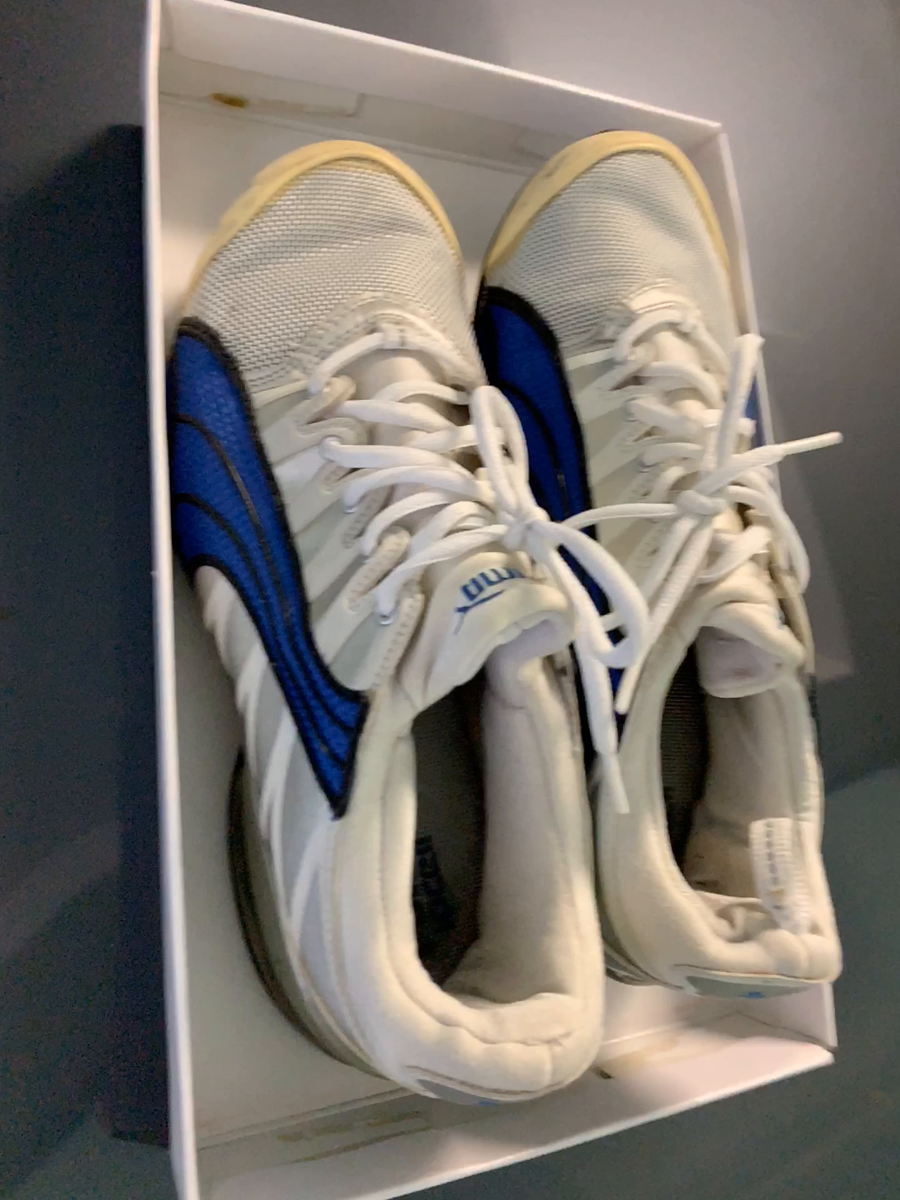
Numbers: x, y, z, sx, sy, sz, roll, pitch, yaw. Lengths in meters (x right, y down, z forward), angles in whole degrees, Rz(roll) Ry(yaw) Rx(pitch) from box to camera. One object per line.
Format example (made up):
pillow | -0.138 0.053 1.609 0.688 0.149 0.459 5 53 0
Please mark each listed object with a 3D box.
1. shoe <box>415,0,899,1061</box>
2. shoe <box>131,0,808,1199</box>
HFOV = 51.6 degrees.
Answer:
shoe | 0.071 -0.027 0.290 0.110 0.089 0.281 1 72 -24
shoe | -0.013 -0.019 0.253 0.110 0.089 0.281 -3 74 -25
